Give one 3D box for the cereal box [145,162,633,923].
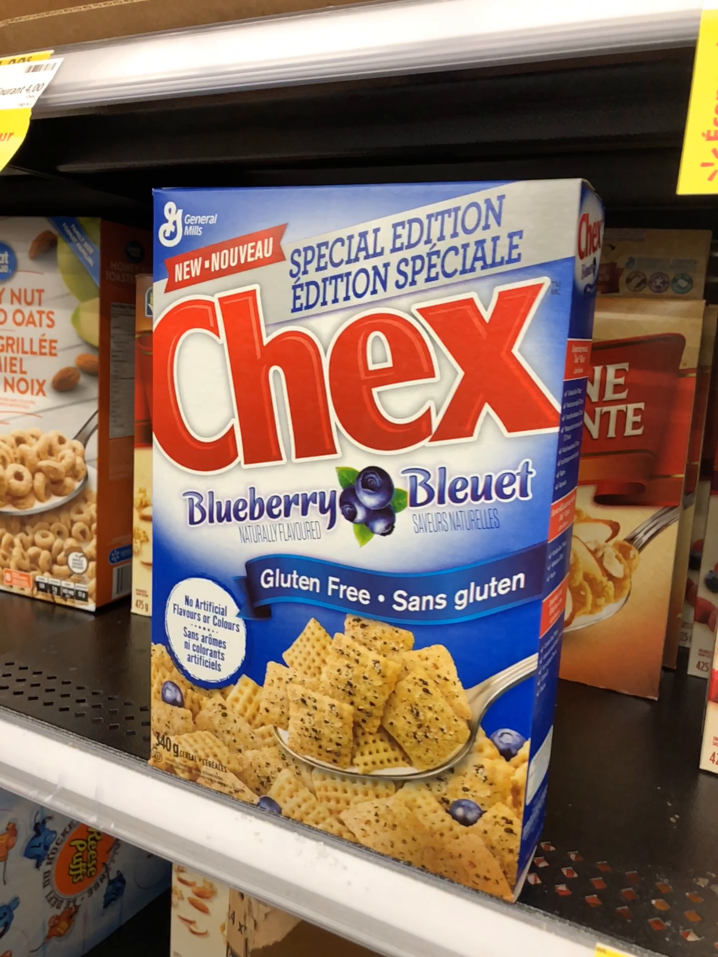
[{"bbox_3d":[0.000,0.018,0.365,0.200,0.289,0.060,8,11,27],"label":"cereal box"}]
